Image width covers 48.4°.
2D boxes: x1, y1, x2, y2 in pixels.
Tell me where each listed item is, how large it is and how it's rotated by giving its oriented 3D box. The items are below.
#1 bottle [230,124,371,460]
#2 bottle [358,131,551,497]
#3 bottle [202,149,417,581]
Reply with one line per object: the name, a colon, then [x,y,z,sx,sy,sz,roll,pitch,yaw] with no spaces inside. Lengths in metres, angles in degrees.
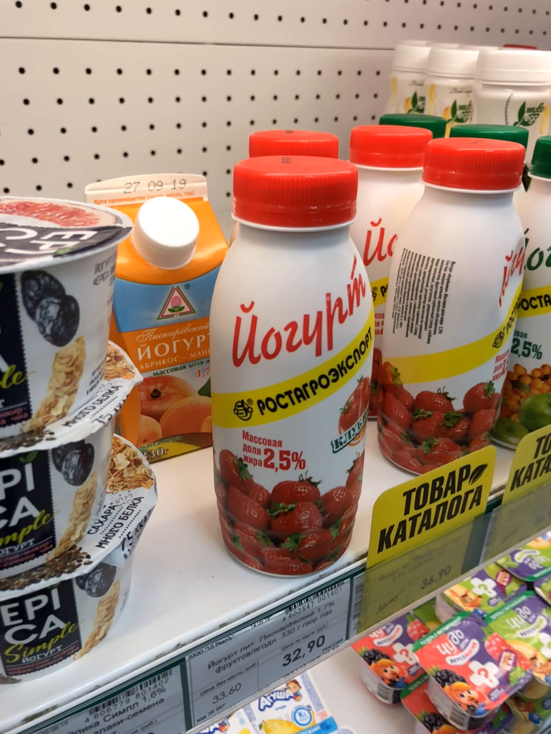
bottle: [0.011,-0.034,0.293,0.055,0.146,0.053,1,27,-1]
bottle: [0.083,-0.025,0.280,0.057,0.146,0.058,1,27,-1]
bottle: [0.007,0.003,0.223,0.058,0.146,0.057,1,27,-1]
